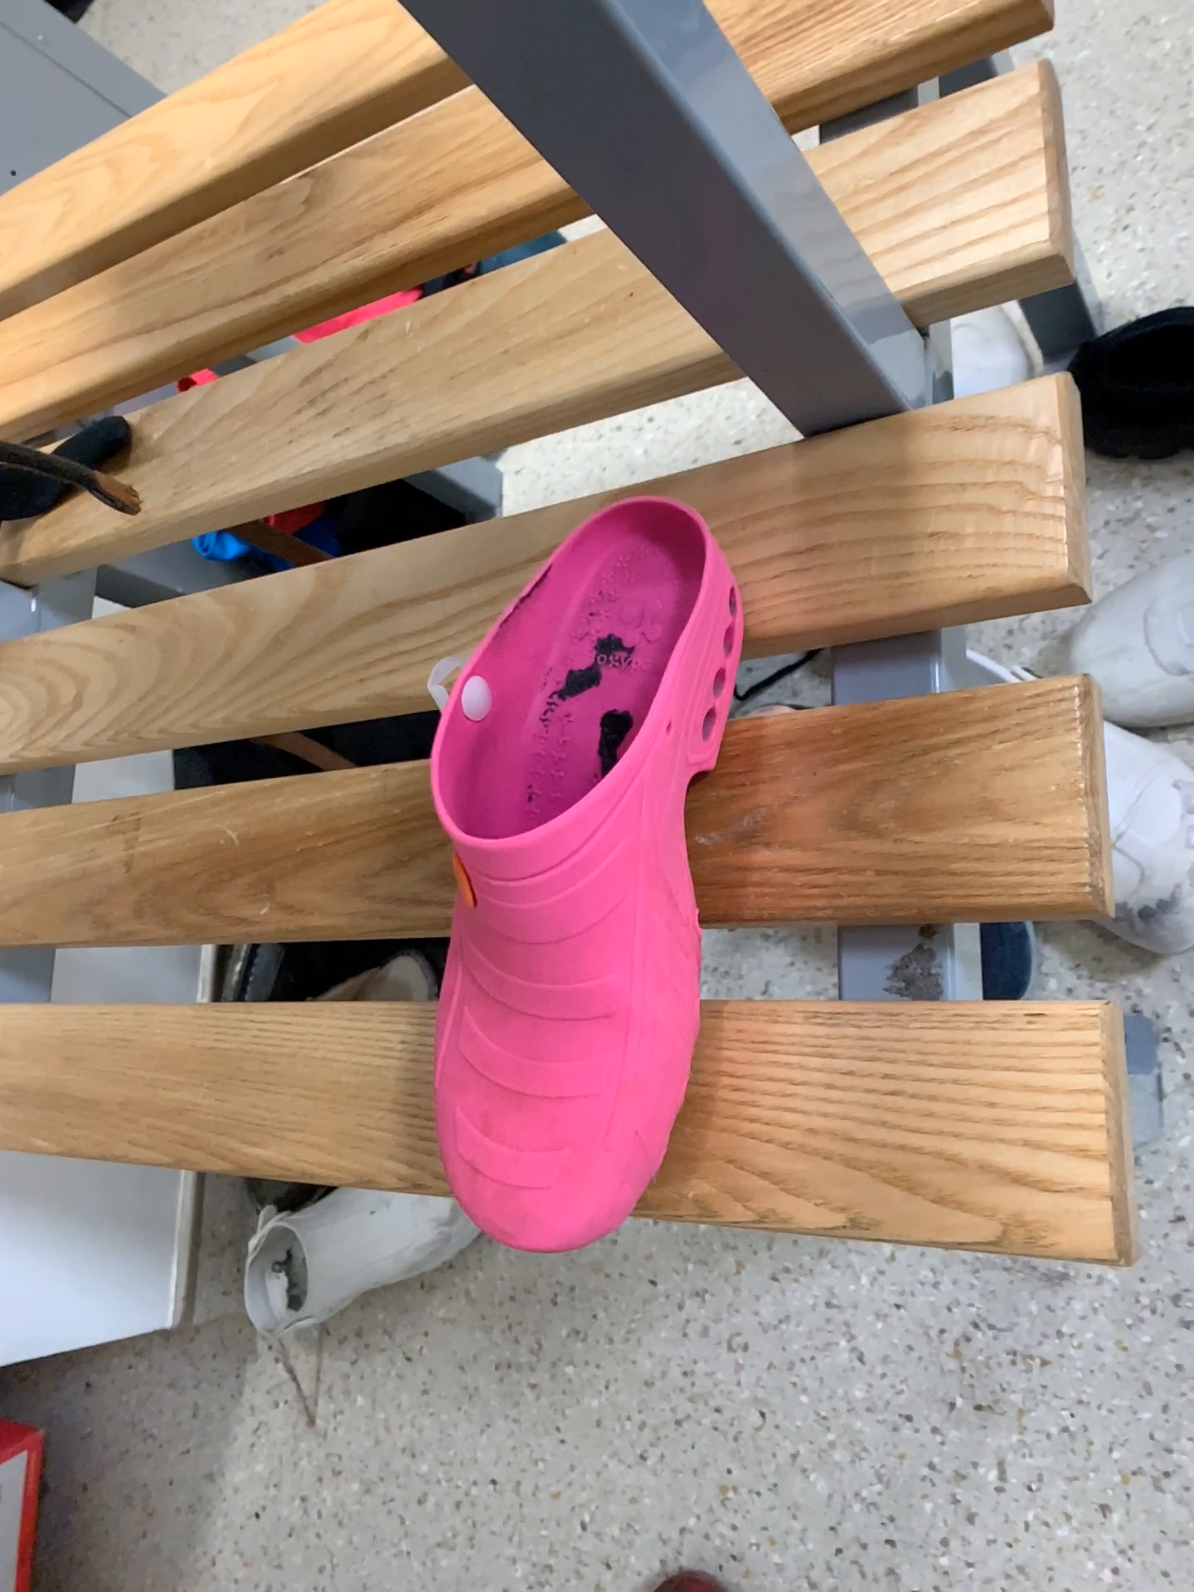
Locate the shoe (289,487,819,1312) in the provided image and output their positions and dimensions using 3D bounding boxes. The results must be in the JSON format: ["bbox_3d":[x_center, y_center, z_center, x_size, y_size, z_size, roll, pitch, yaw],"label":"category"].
[{"bbox_3d":[-0.011,0.024,0.376,0.097,0.068,0.220,9,84,35],"label":"shoe"}]
